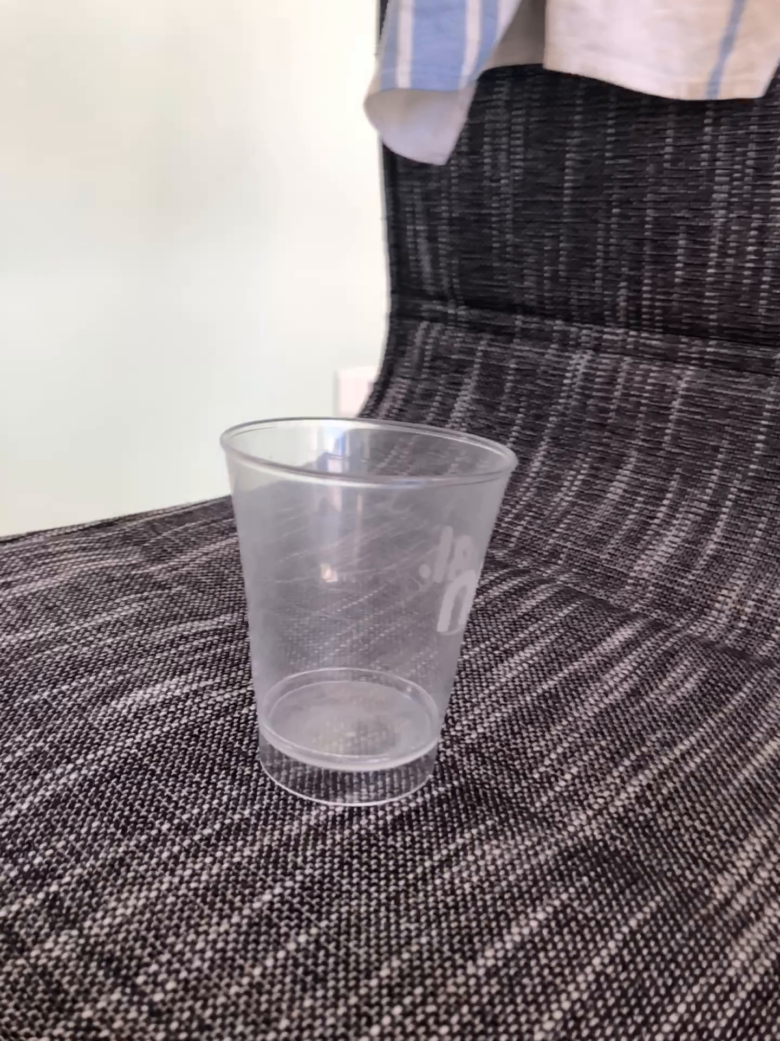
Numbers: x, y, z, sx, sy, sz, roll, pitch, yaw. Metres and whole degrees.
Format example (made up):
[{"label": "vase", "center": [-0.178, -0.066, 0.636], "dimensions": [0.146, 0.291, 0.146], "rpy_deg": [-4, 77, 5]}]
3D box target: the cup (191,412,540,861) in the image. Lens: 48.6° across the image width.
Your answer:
[{"label": "cup", "center": [-0.008, 0.027, 0.251], "dimensions": [0.080, 0.100, 0.080], "rpy_deg": [4, 16, -1]}]
